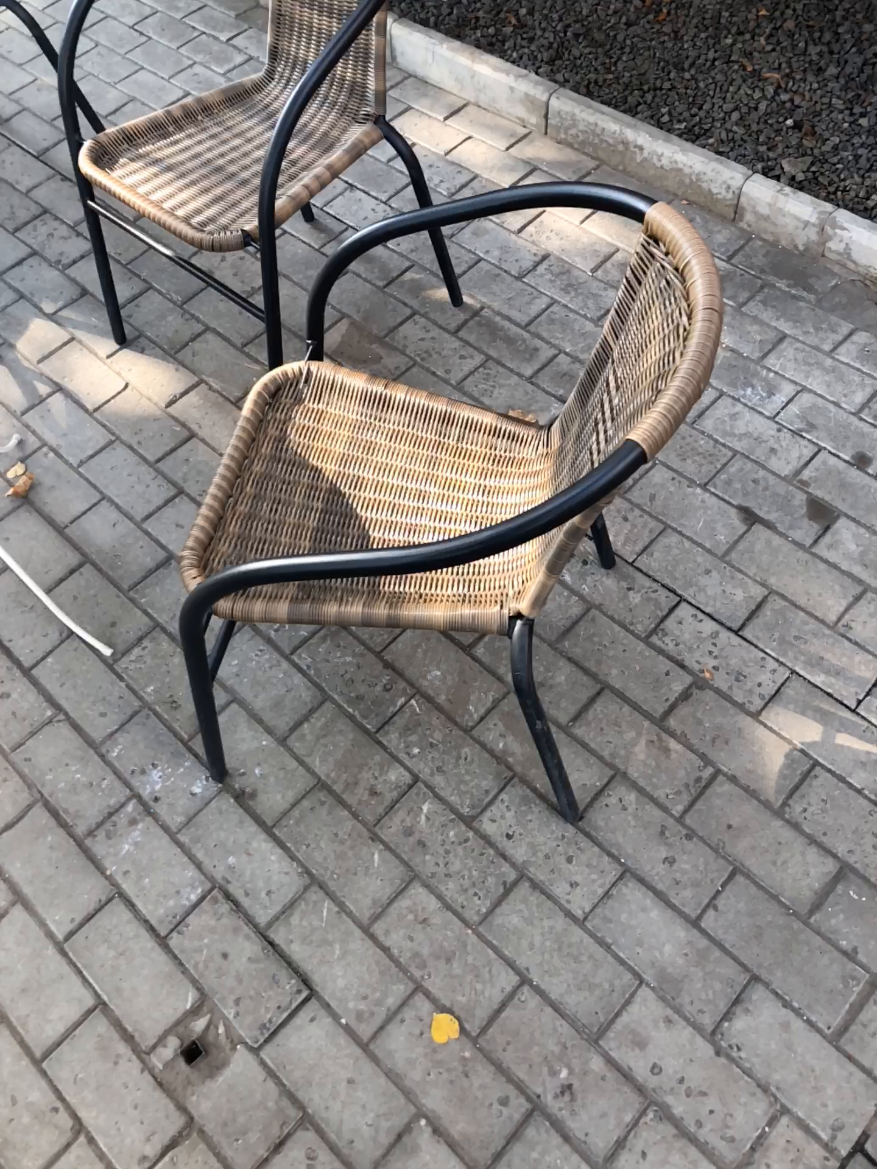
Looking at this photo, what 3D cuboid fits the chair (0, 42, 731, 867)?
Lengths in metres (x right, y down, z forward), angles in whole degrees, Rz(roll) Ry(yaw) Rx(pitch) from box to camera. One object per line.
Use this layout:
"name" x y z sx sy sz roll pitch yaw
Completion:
"chair" -0.054 -0.115 1.081 0.590 0.668 0.541 9 57 12
